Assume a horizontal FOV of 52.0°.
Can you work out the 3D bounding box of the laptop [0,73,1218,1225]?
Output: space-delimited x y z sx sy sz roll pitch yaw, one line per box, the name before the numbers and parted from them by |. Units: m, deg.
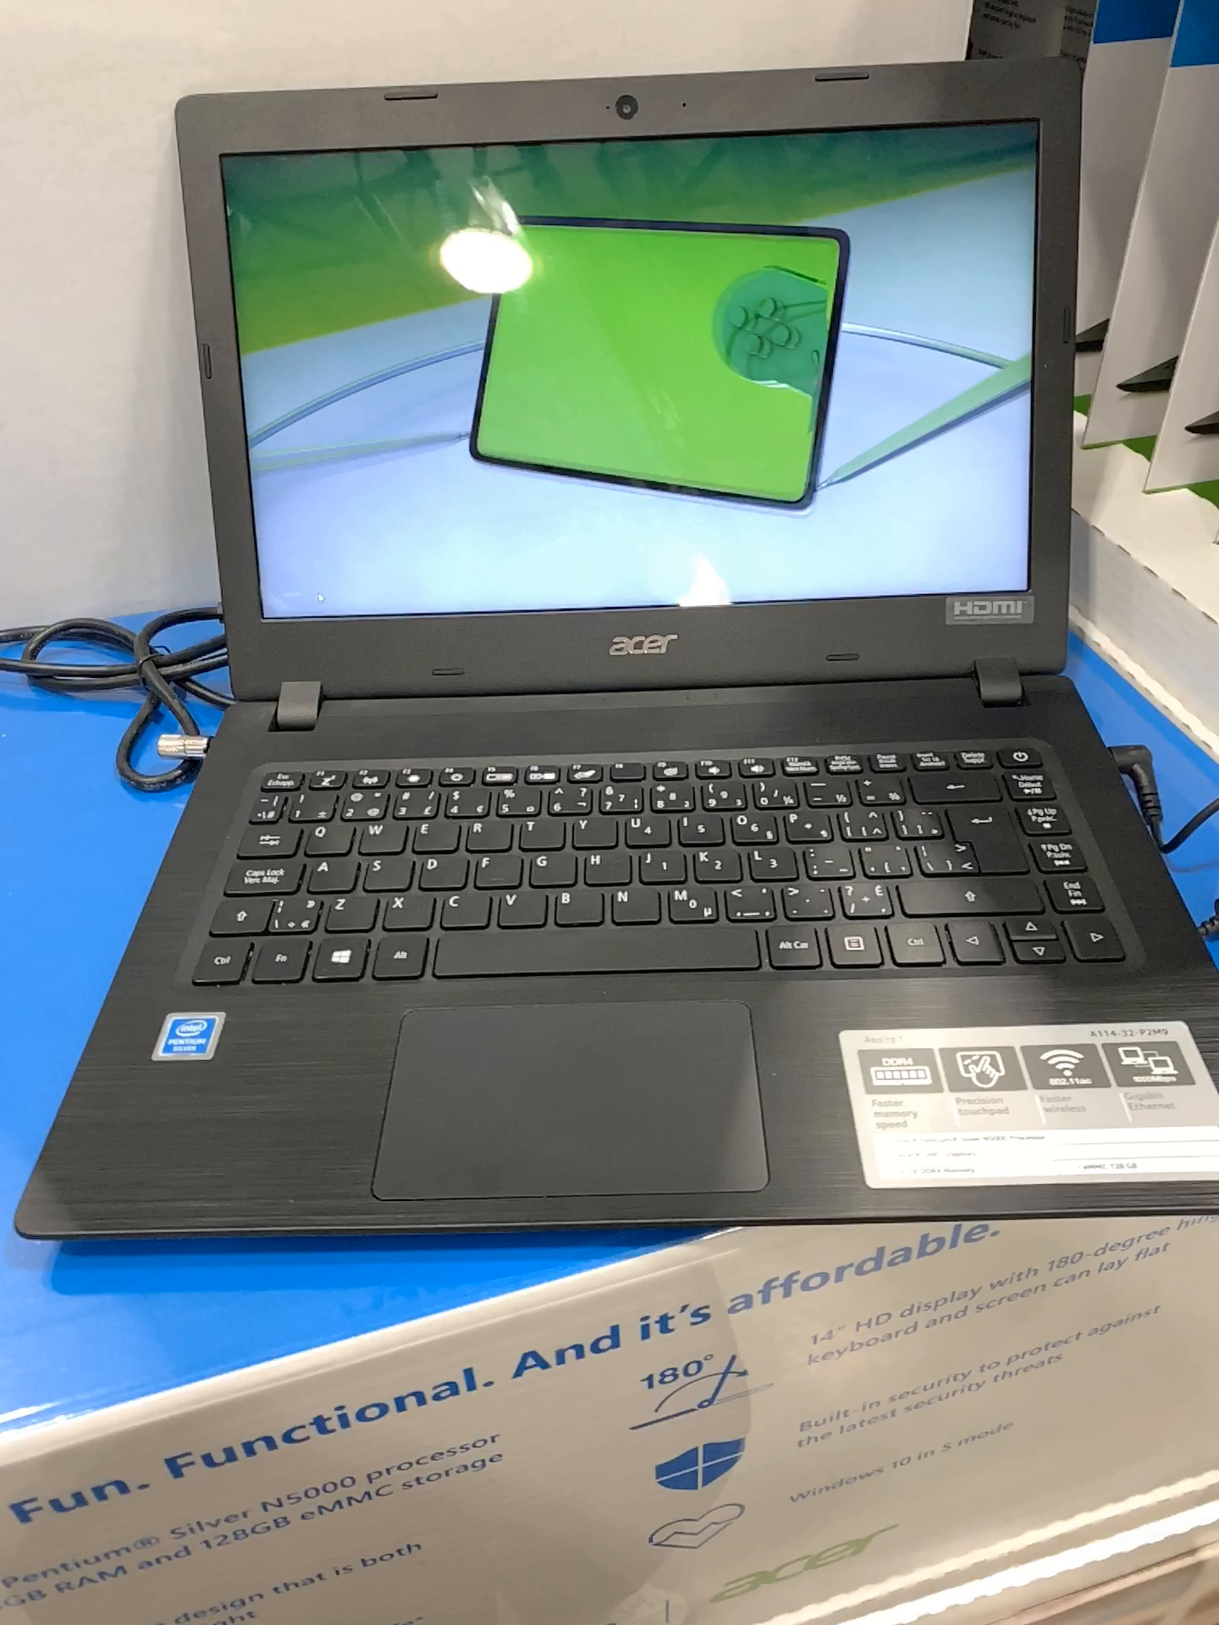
laptop | 0.011 -0.077 0.373 0.318 0.186 0.329 -1 40 2
